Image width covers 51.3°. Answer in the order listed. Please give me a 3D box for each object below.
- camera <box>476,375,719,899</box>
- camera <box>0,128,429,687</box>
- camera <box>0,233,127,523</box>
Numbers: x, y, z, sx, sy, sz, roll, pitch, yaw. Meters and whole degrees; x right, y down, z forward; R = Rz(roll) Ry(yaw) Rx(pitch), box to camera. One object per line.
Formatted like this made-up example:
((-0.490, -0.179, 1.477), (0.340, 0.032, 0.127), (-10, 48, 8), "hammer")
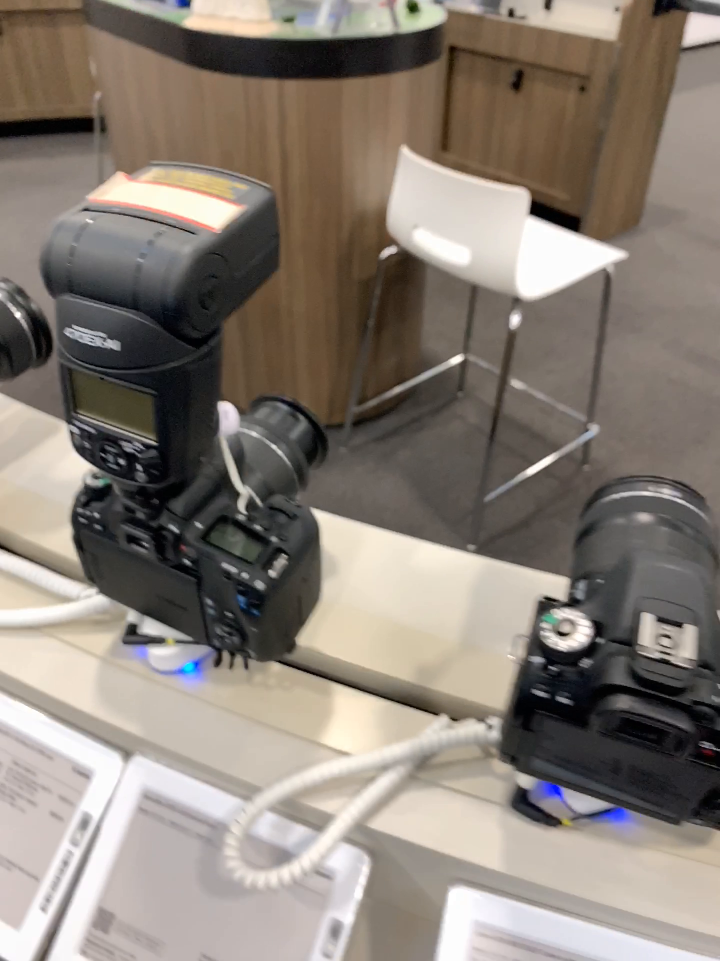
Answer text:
((0.152, 0.055, 0.356), (0.140, 0.099, 0.191), (15, 43, 15), "camera")
((-0.072, -0.045, 0.414), (0.150, 0.219, 0.171), (19, 44, 20), "camera")
((-0.307, -0.088, 0.565), (0.140, 0.099, 0.201), (19, 44, 20), "camera")
